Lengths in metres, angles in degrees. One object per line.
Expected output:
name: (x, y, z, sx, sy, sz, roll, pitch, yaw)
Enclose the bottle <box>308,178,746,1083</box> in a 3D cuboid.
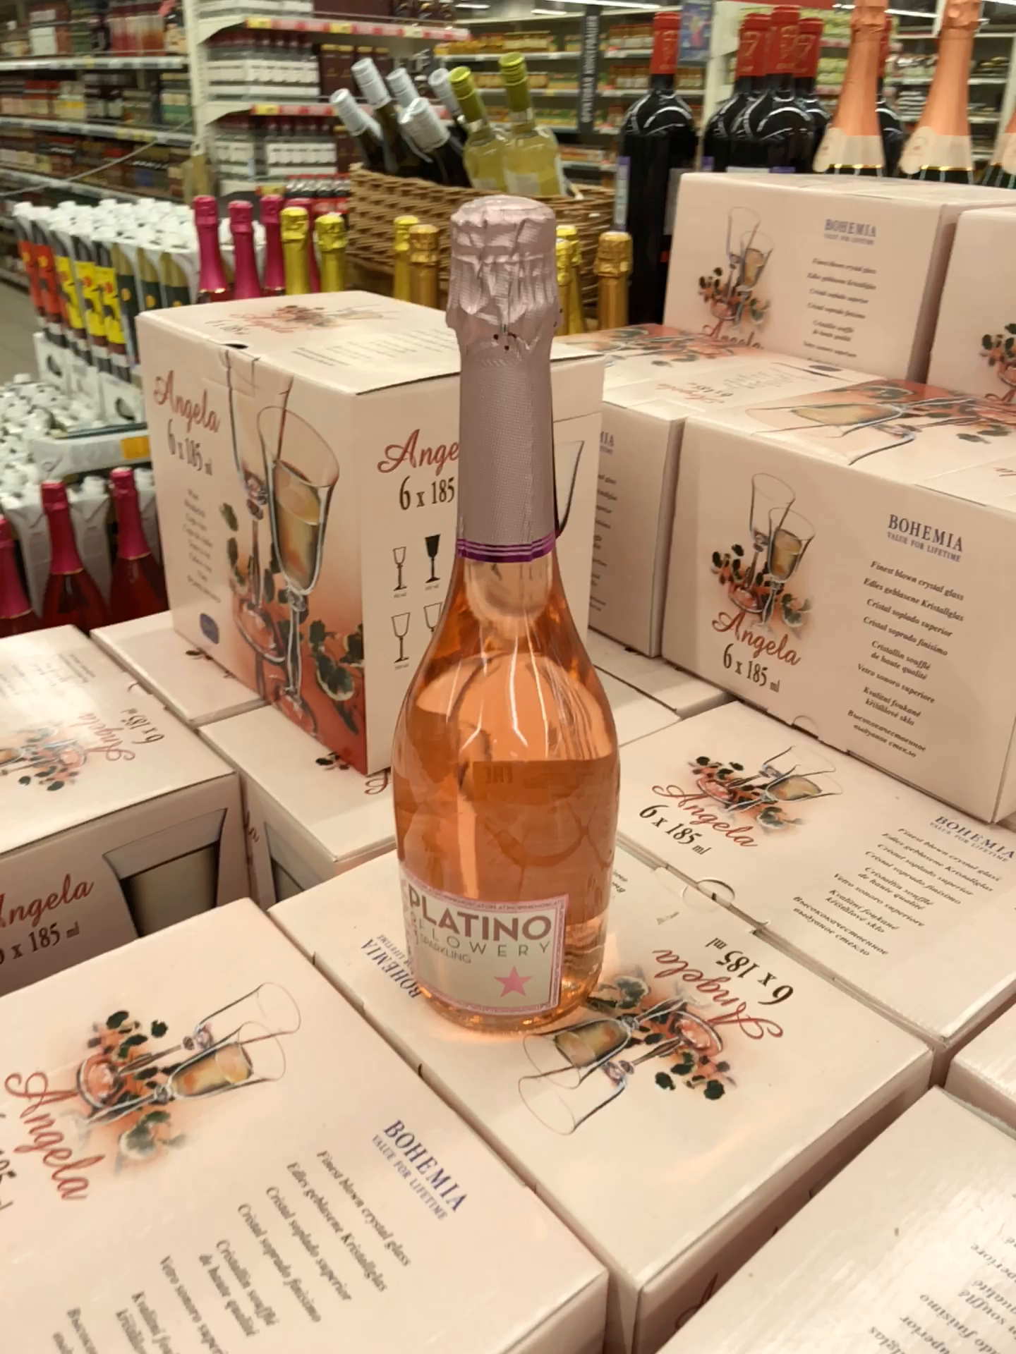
bottle: (0.007, -0.014, 0.420, 0.100, 0.308, 0.100, 1, 27, 0)
